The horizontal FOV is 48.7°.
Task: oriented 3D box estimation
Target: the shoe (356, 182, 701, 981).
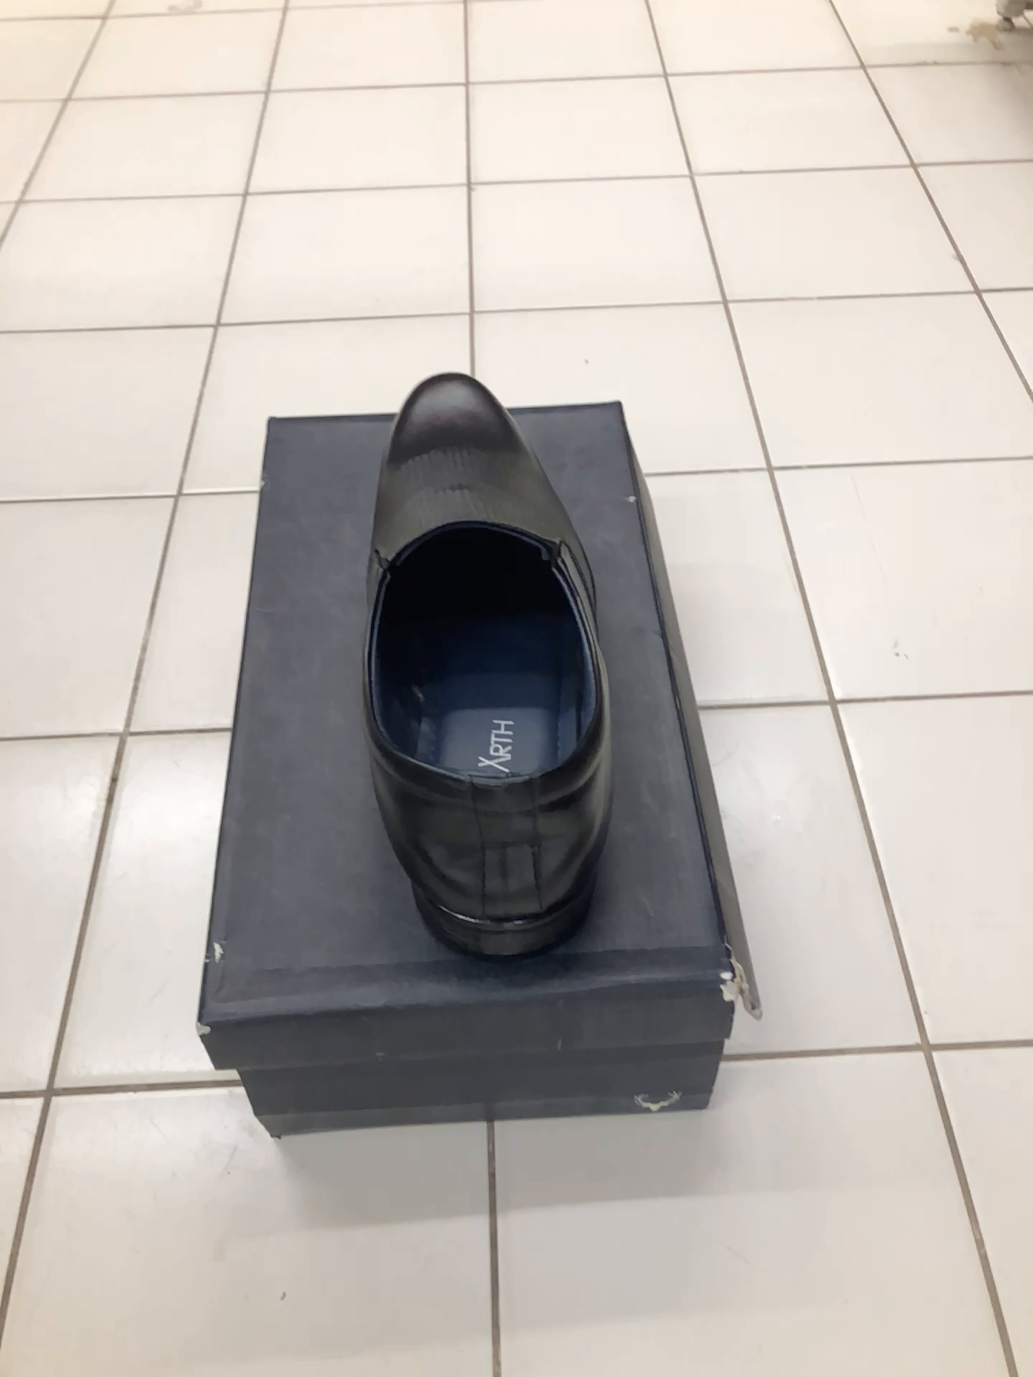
[{"bbox_3d":[-0.010,-0.066,0.490,0.100,0.129,0.342,-5,51,-2],"label":"shoe"}]
